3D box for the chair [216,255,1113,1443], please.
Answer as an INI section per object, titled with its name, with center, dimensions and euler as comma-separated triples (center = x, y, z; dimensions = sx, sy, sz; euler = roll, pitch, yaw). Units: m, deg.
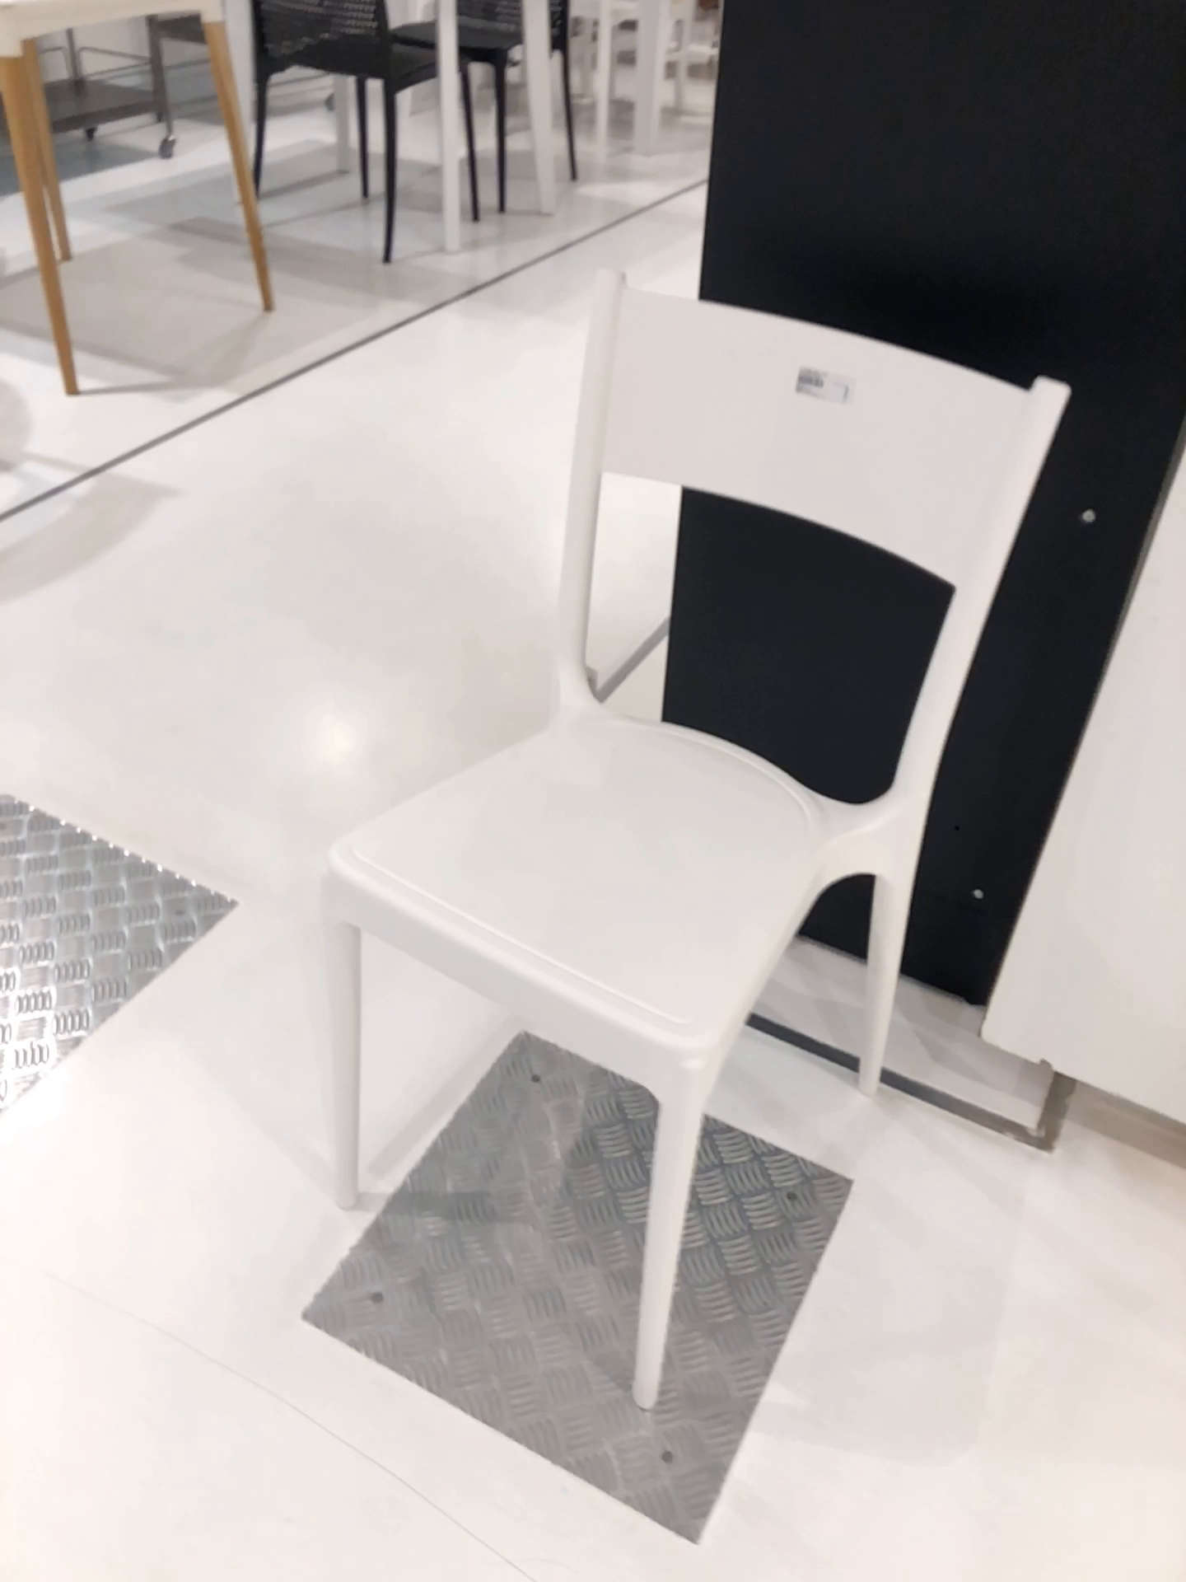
[chair]
center = 0.055, 0.041, 1.099
dimensions = 0.411, 0.764, 0.483
euler = 23, 41, 24
